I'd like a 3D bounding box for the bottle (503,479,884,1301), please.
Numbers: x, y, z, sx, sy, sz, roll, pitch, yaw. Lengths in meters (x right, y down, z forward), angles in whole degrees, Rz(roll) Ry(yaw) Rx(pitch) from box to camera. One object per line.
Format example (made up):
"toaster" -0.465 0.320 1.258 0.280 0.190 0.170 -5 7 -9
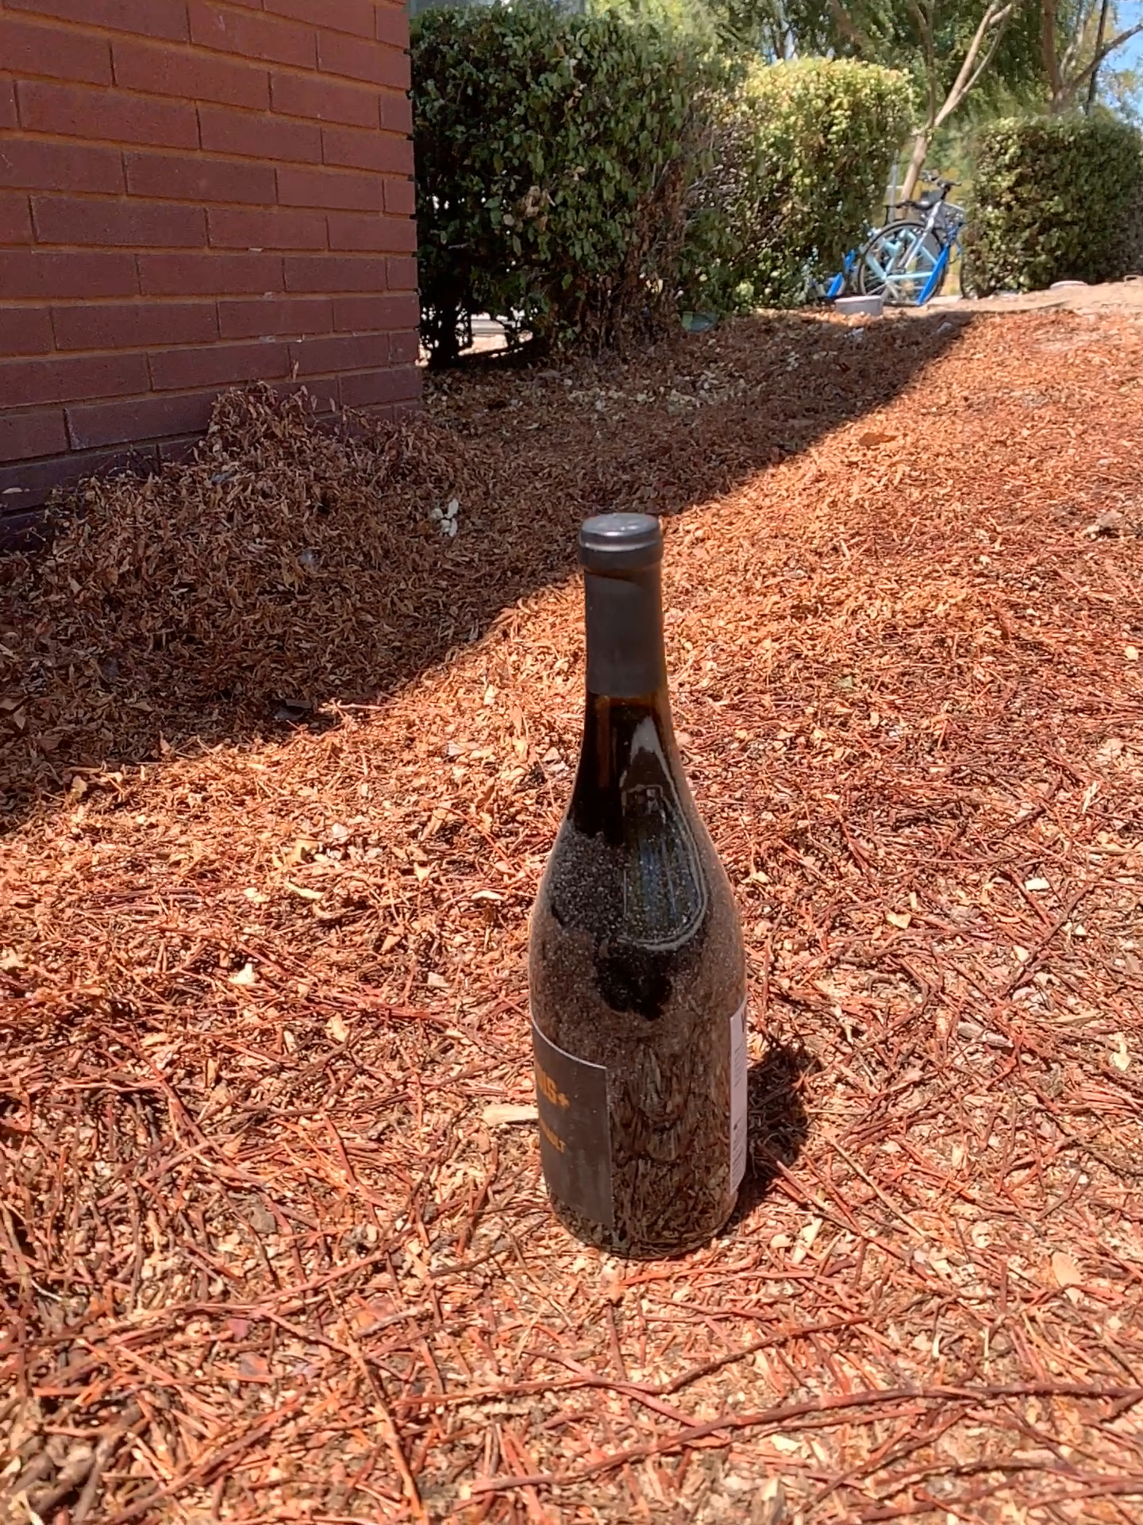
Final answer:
"bottle" 0.035 0.046 0.434 0.090 0.279 0.090 1 22 0
